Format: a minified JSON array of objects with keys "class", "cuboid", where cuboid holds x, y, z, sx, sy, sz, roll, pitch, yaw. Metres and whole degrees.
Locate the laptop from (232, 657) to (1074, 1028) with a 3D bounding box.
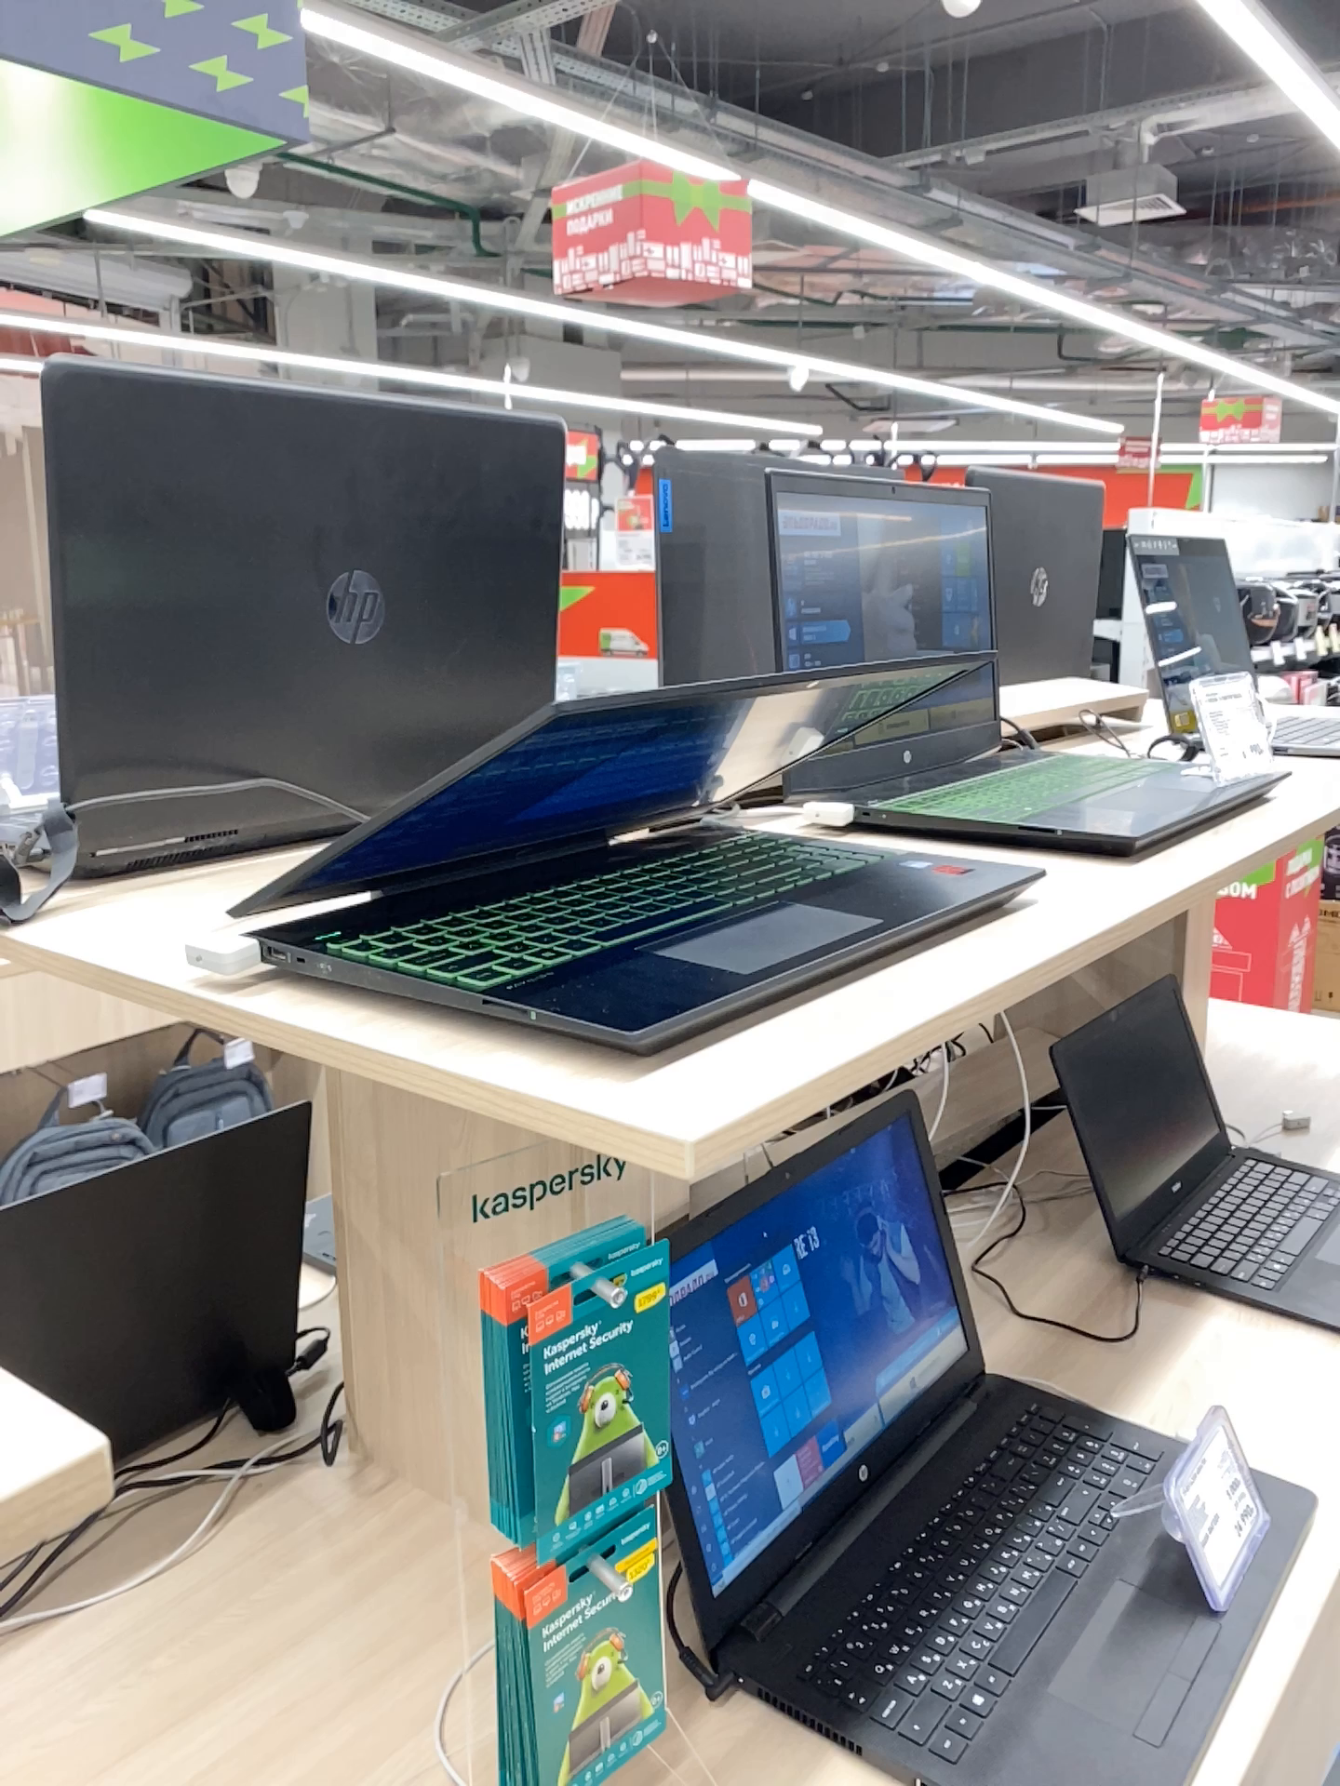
[{"class":"laptop","cuboid":[0.012,-0.053,0.695,0.244,0.115,0.365,10,15,37]}]
